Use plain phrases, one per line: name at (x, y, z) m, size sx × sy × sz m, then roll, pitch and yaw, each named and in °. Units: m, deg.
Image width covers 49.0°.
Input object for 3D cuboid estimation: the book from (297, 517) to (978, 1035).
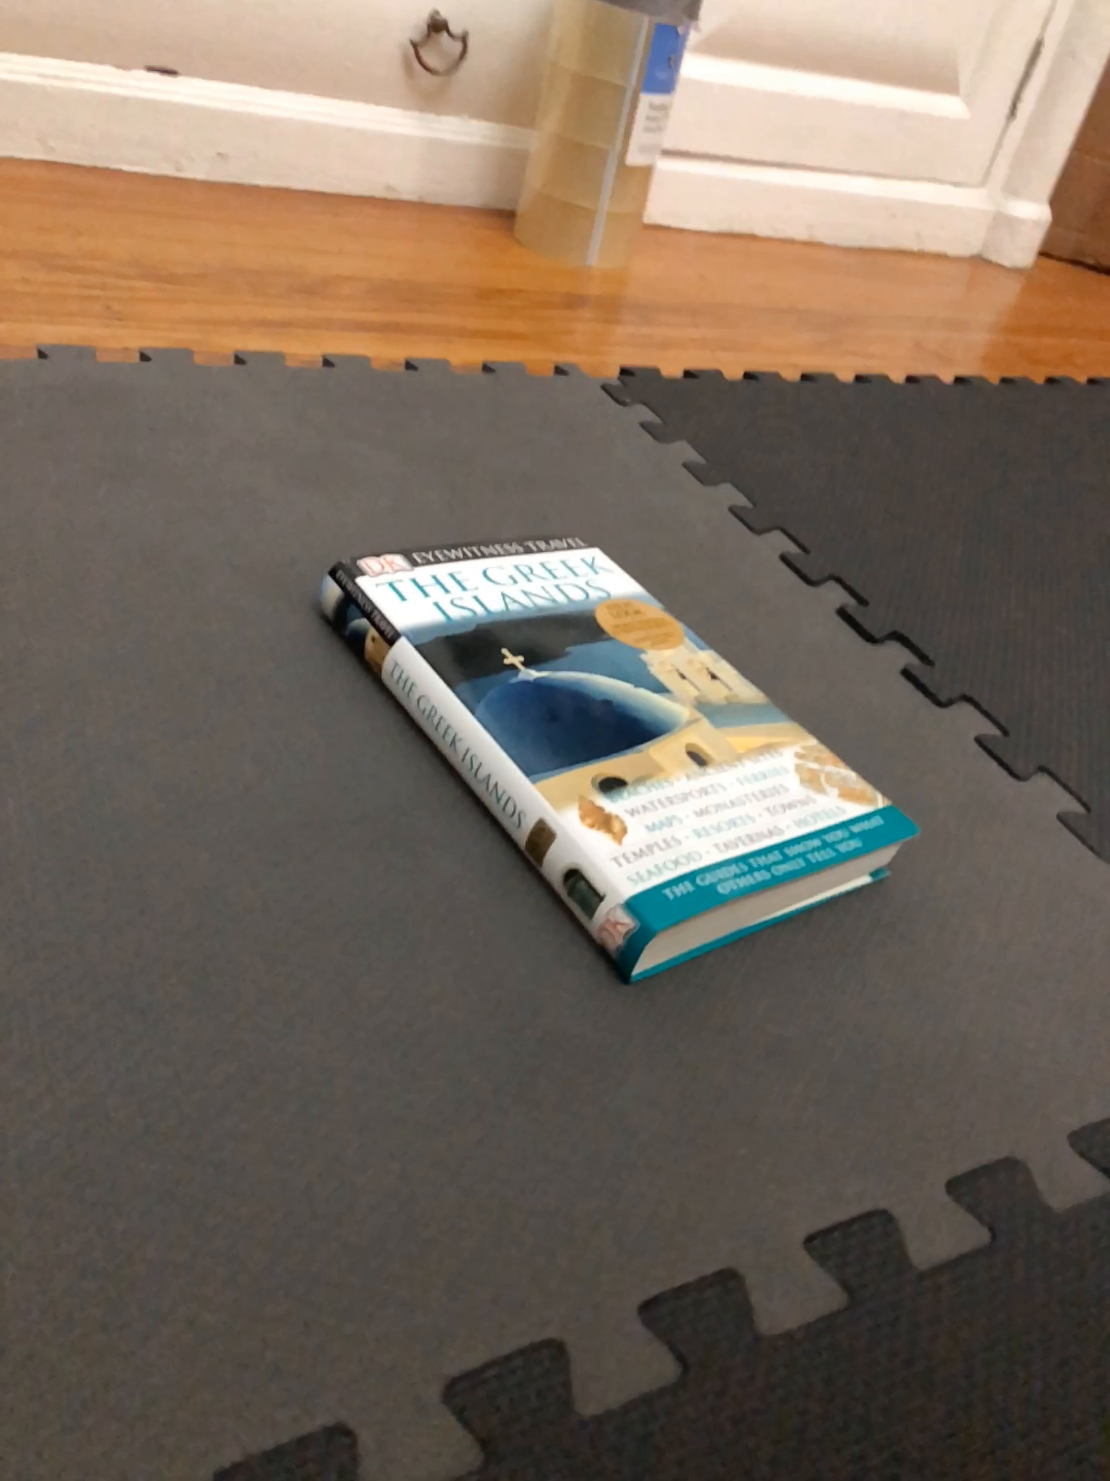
book at (0.023, -0.008, 0.486) m, size 0.160 × 0.030 × 0.241 m, roll -14°, pitch 45°, yaw -33°
